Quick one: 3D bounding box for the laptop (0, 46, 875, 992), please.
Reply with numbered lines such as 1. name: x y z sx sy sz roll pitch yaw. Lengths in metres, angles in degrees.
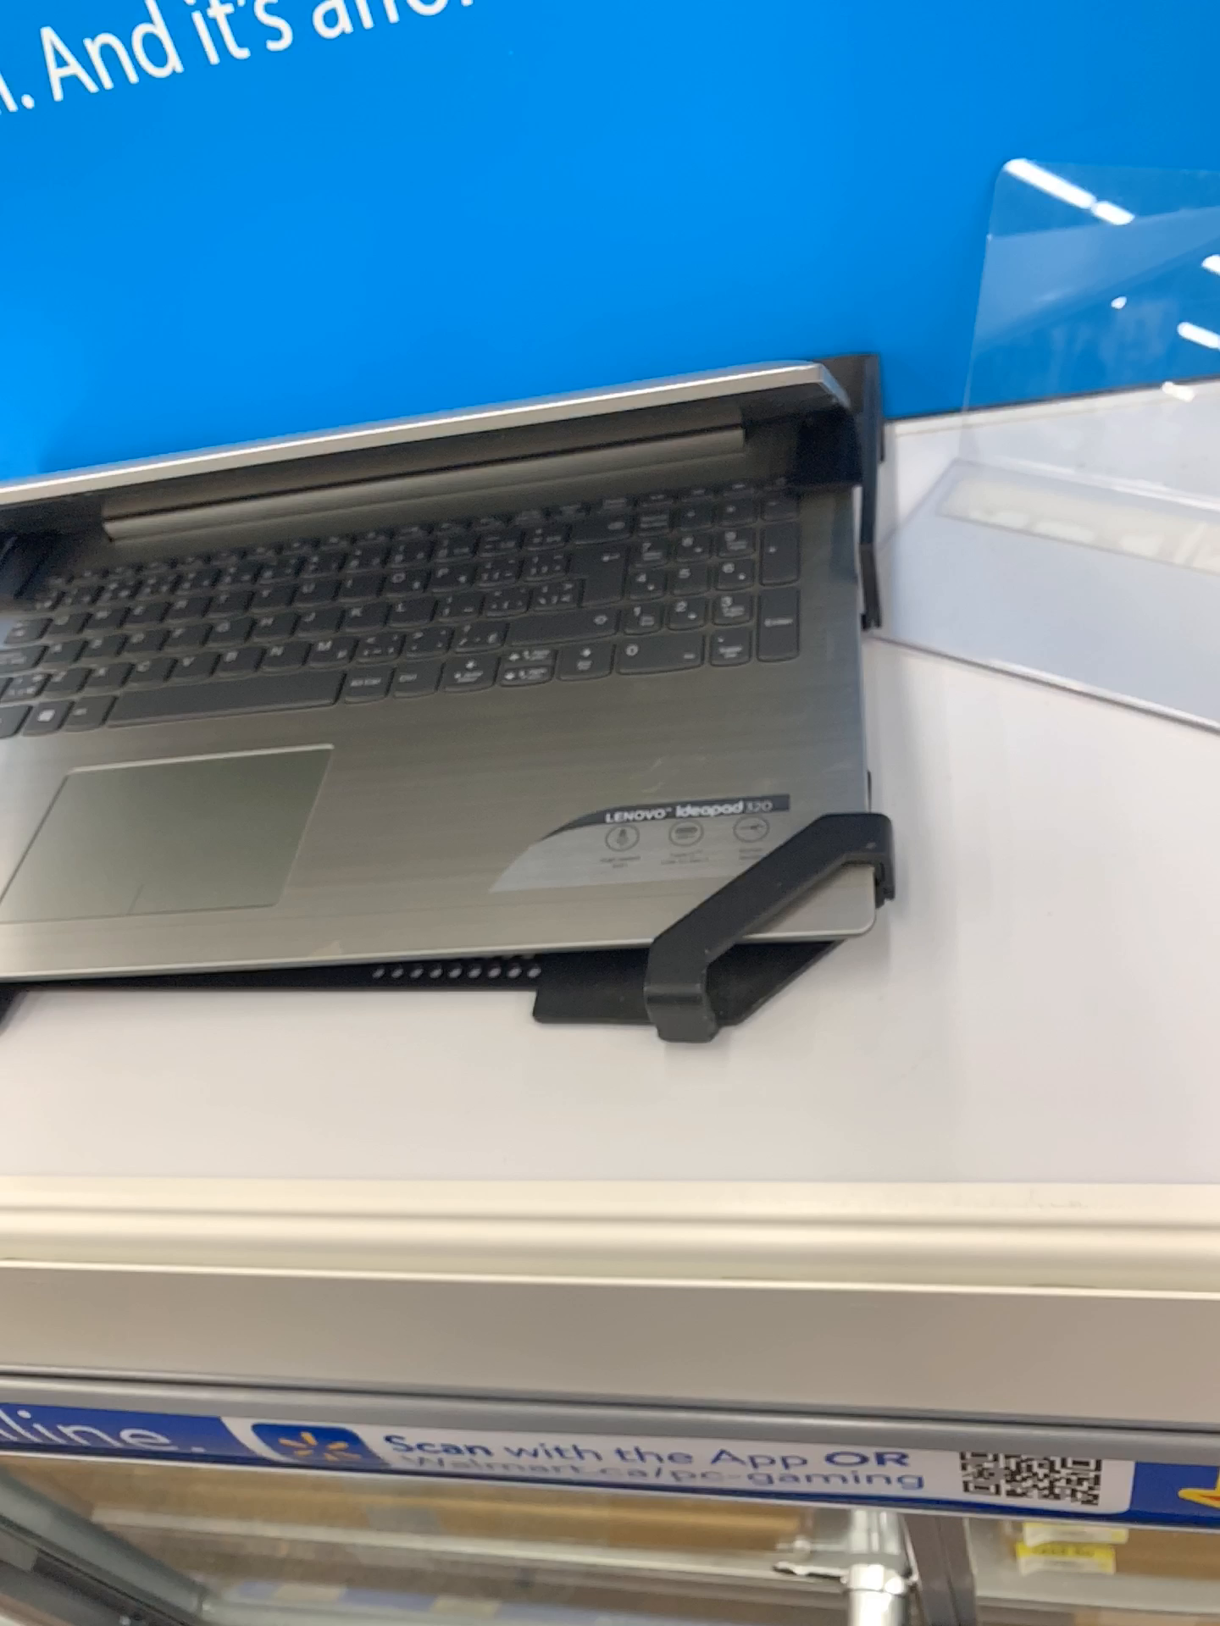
1. laptop: -0.098 -0.085 0.368 0.326 0.115 0.230 -5 47 13
